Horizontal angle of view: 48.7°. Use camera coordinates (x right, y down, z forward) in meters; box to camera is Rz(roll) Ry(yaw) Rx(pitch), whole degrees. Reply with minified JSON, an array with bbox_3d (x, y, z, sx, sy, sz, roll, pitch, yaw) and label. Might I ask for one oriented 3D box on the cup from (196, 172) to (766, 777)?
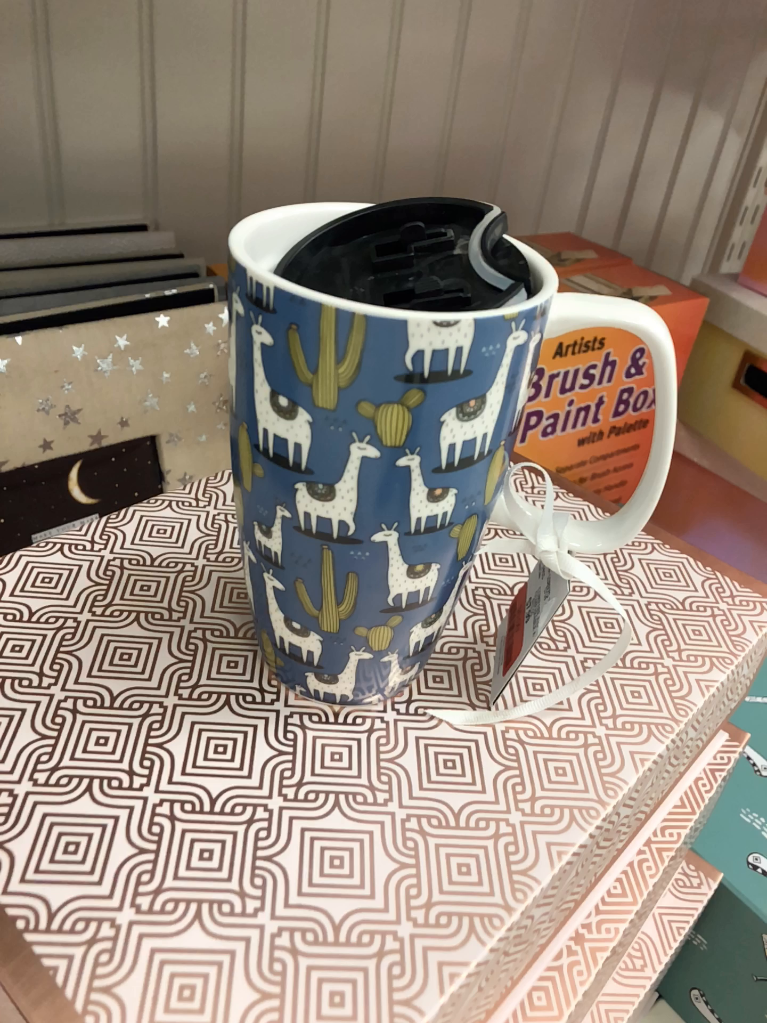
[{"bbox_3d":[0.019,-0.011,0.255,0.125,0.138,0.090,8,34,1],"label":"cup"}]
